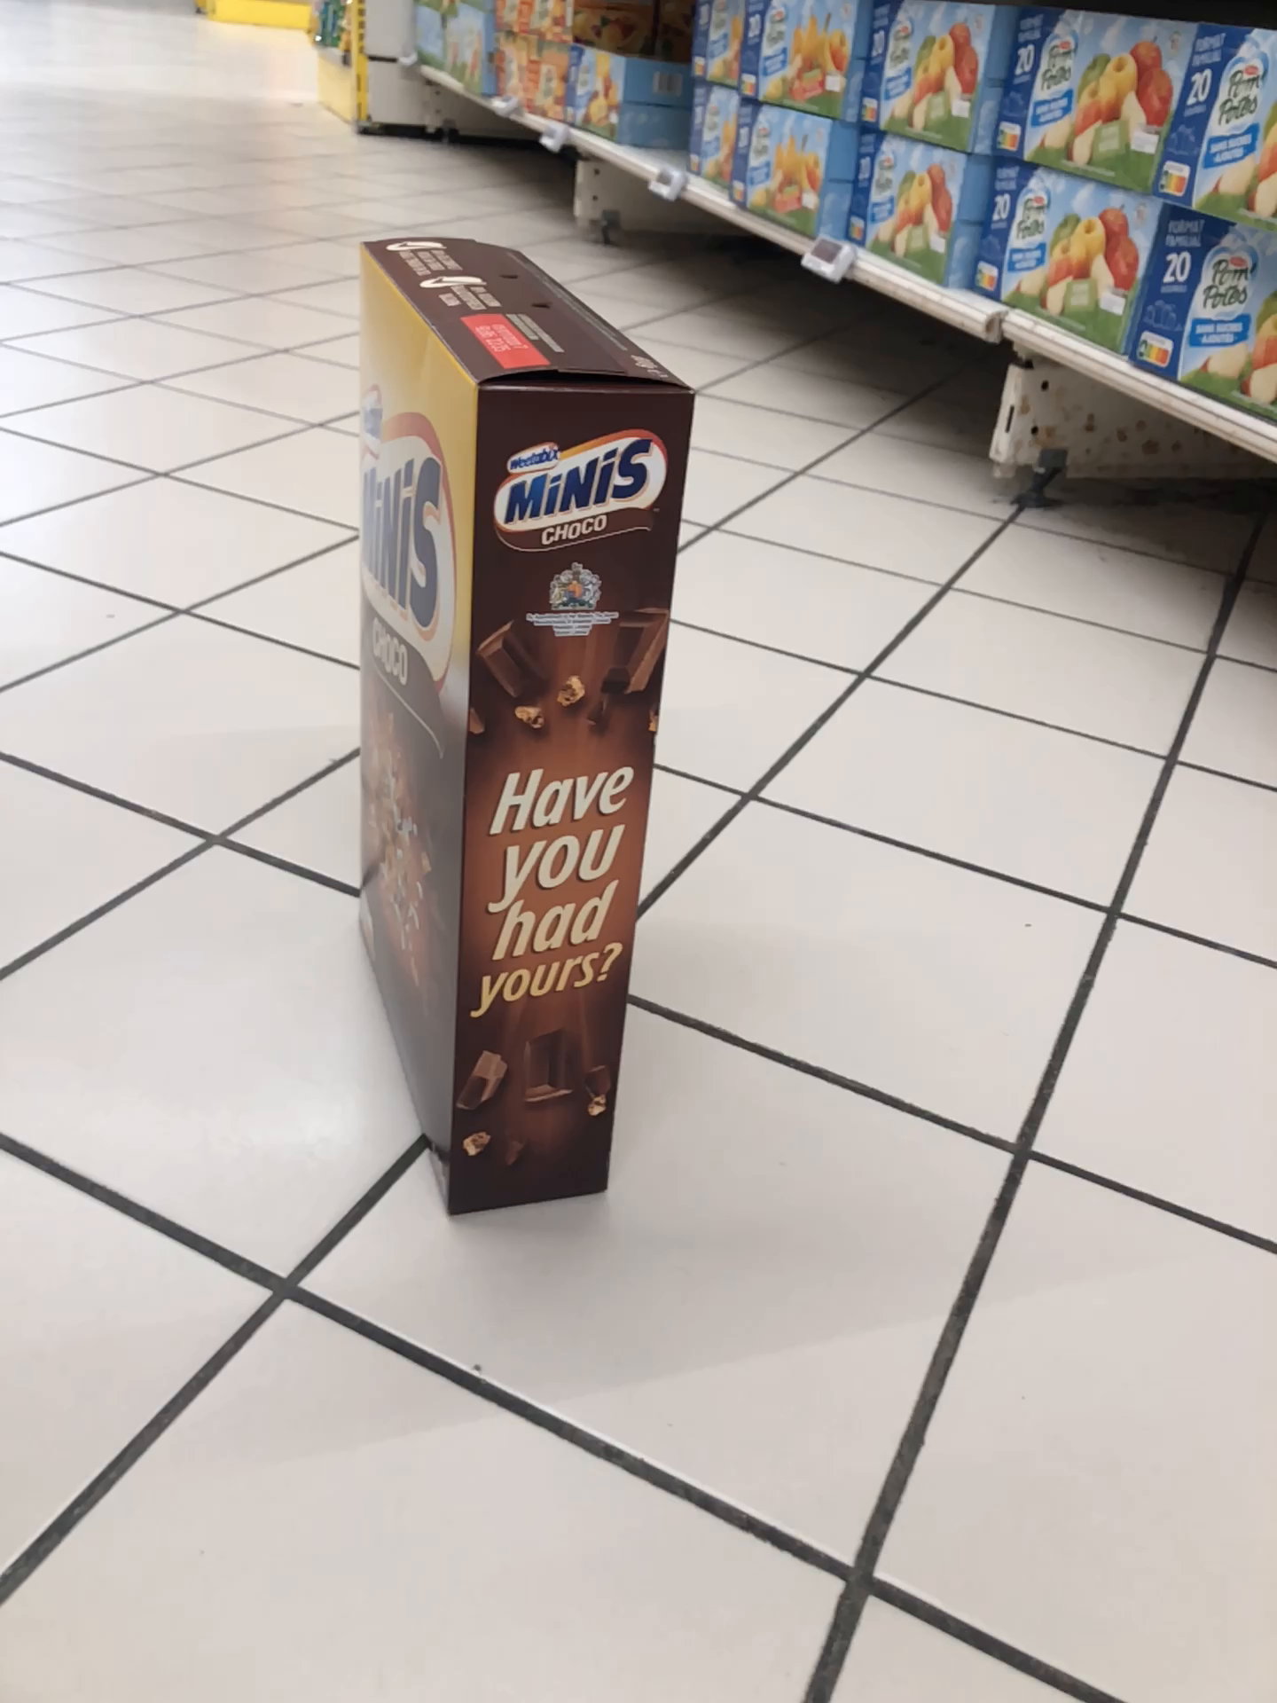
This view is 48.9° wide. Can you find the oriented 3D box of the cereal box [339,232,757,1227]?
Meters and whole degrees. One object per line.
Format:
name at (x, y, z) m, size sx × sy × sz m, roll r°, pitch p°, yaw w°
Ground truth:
cereal box at (-0.052, -0.049, 0.506) m, size 0.080 × 0.288 × 0.201 m, roll -5°, pitch 32°, yaw -18°
